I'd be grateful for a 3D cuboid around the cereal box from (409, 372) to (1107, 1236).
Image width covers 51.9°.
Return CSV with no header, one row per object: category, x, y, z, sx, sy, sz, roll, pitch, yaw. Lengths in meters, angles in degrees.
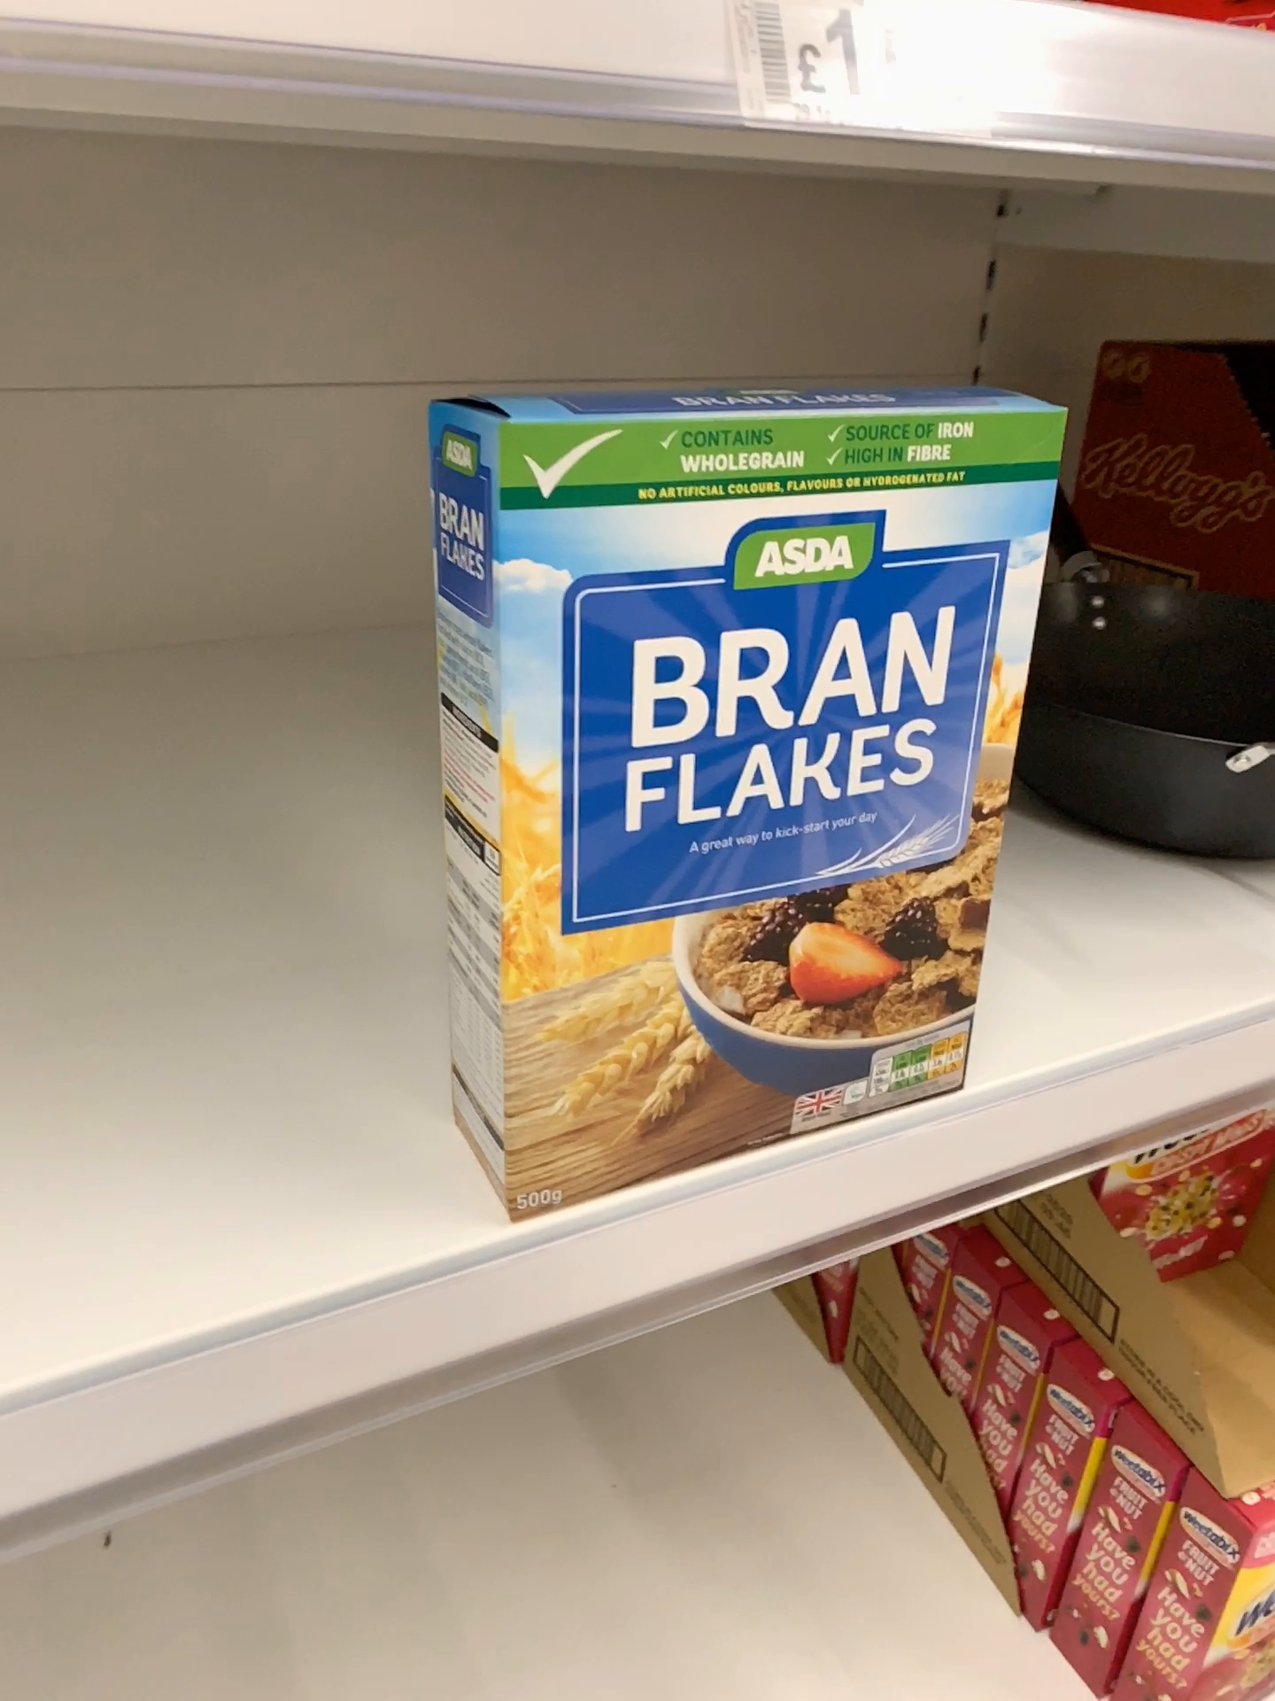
cereal box,0.040,-0.026,0.485,0.221,0.278,0.080,-10,25,-25
